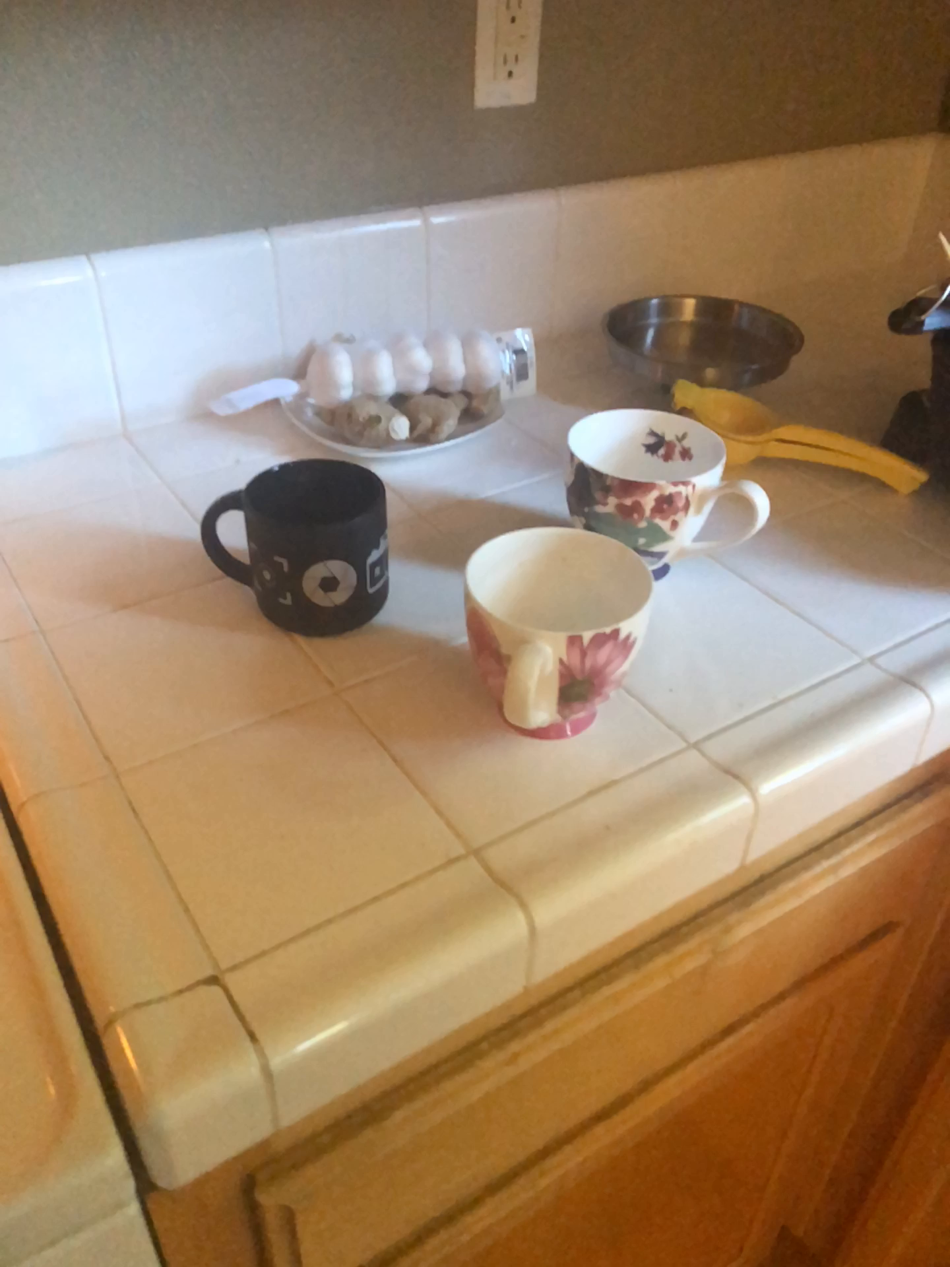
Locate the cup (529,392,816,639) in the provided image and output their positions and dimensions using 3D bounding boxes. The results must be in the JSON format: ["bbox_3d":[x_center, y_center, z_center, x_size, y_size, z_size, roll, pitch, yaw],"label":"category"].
[{"bbox_3d":[0.133,-0.087,0.724,0.150,0.089,0.111,27,43,29],"label":"cup"}]

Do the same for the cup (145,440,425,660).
[{"bbox_3d":[-0.120,-0.059,0.689,0.140,0.069,0.111,15,39,17],"label":"cup"}]

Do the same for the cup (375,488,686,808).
[{"bbox_3d":[0.033,0.000,0.580,0.110,0.079,0.151,20,40,22],"label":"cup"}]
